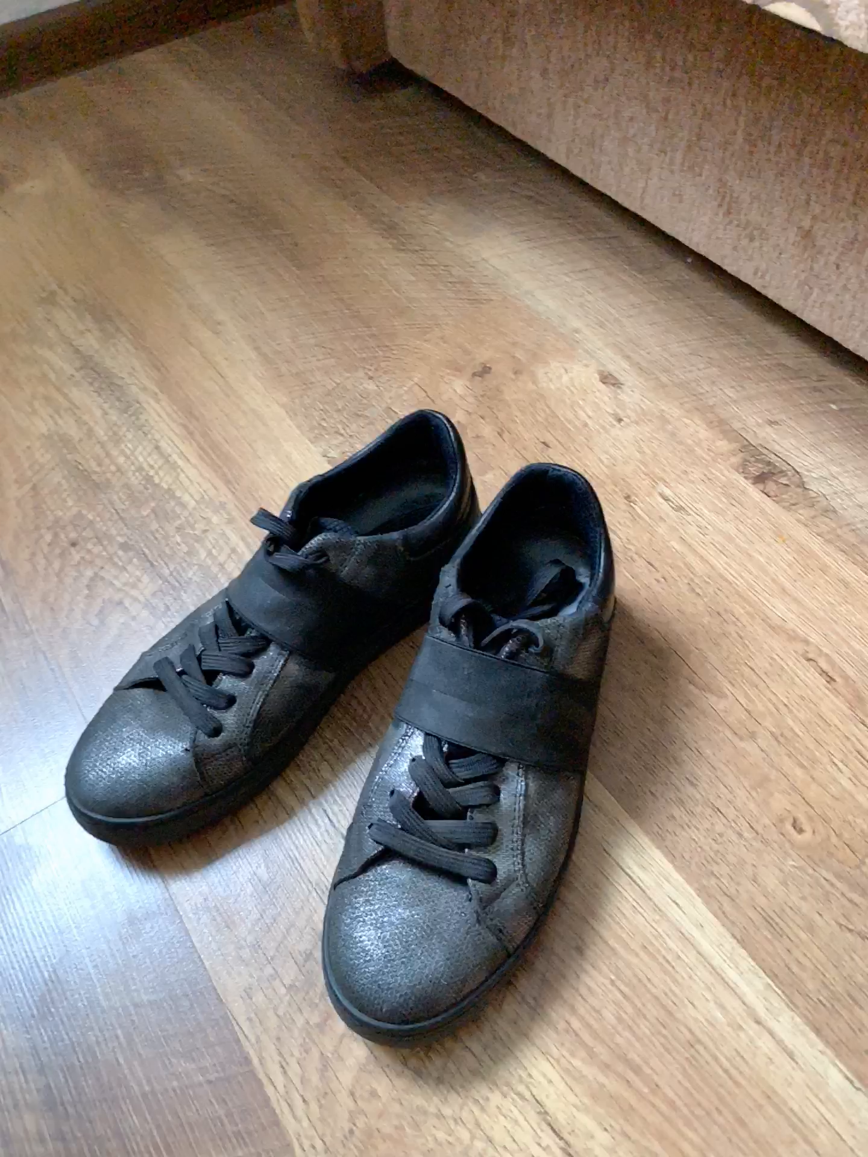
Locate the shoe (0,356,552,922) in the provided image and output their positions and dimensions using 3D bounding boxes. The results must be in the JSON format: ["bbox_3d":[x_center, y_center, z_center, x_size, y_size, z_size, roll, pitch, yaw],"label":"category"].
[{"bbox_3d":[-0.068,0.017,0.422,0.100,0.090,0.260,36,64,27],"label":"shoe"}]

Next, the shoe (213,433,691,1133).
[{"bbox_3d":[0.025,0.069,0.380,0.100,0.090,0.261,15,56,16],"label":"shoe"}]
